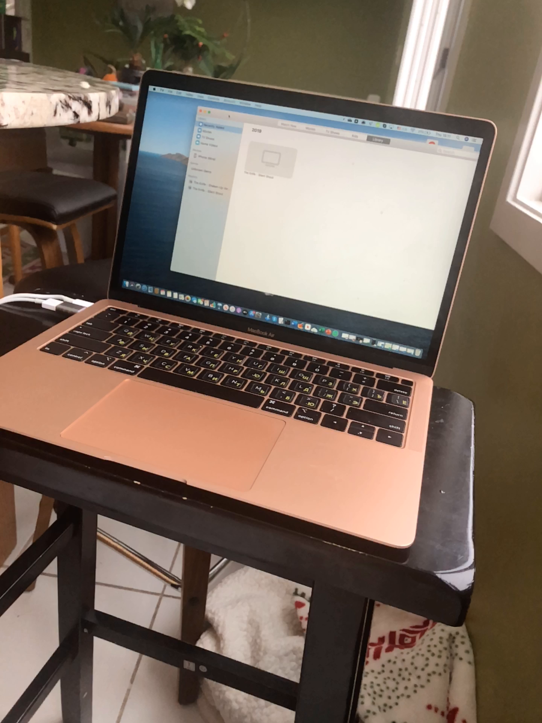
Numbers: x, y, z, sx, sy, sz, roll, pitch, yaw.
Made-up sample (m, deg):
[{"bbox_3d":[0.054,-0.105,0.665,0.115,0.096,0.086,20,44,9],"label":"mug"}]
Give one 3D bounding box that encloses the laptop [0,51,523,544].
[{"bbox_3d":[-0.018,-0.080,0.417,0.297,0.196,0.265,14,26,12],"label":"laptop"}]
